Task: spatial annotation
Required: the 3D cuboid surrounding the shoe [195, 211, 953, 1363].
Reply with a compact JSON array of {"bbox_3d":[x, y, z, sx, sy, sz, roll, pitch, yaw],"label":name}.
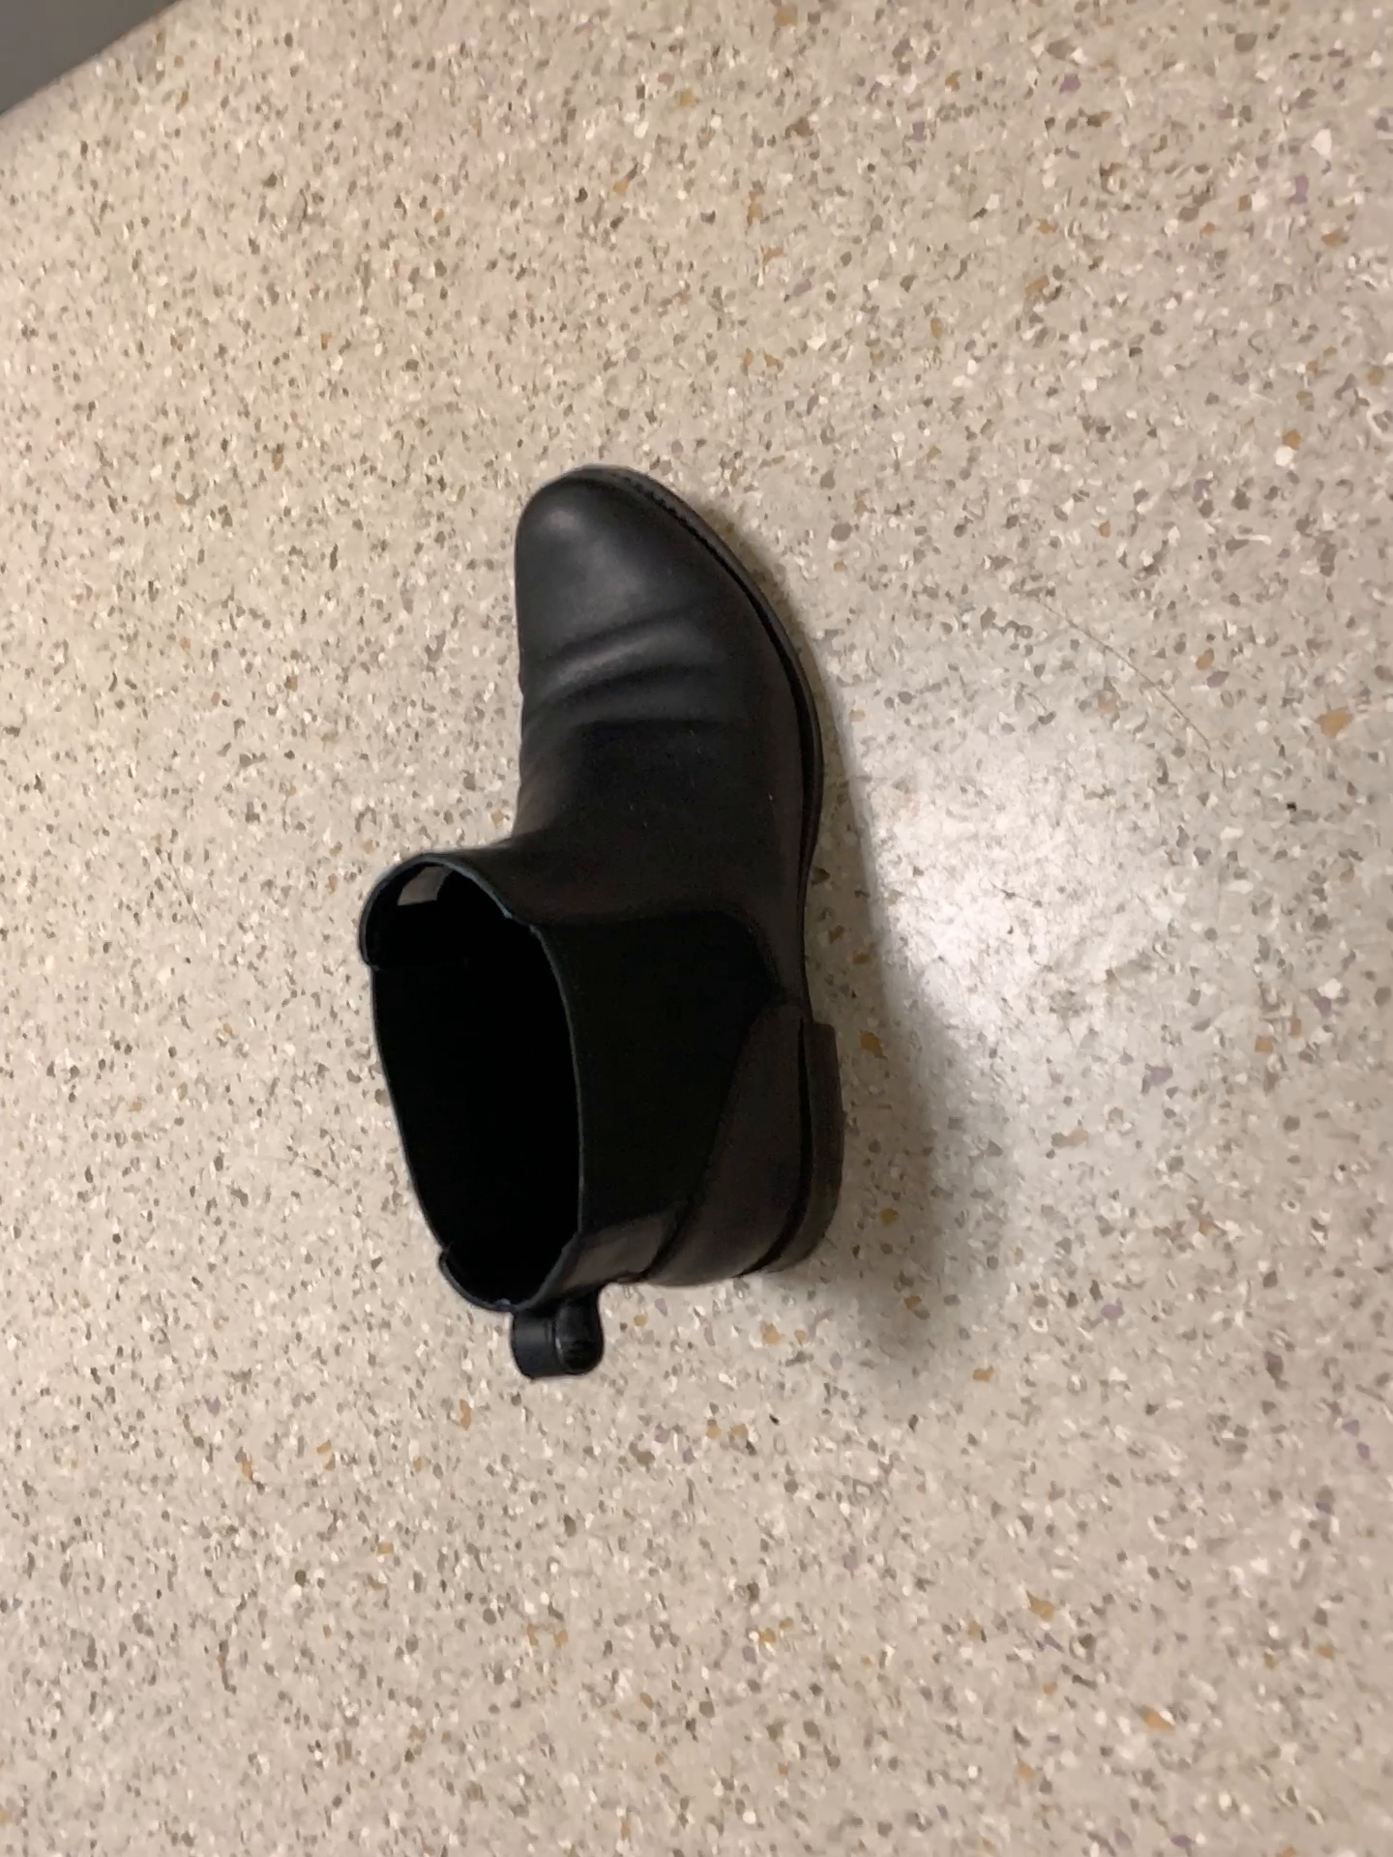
[{"bbox_3d":[-0.034,-0.031,0.418,0.108,0.147,0.270,-20,75,27],"label":"shoe"}]
